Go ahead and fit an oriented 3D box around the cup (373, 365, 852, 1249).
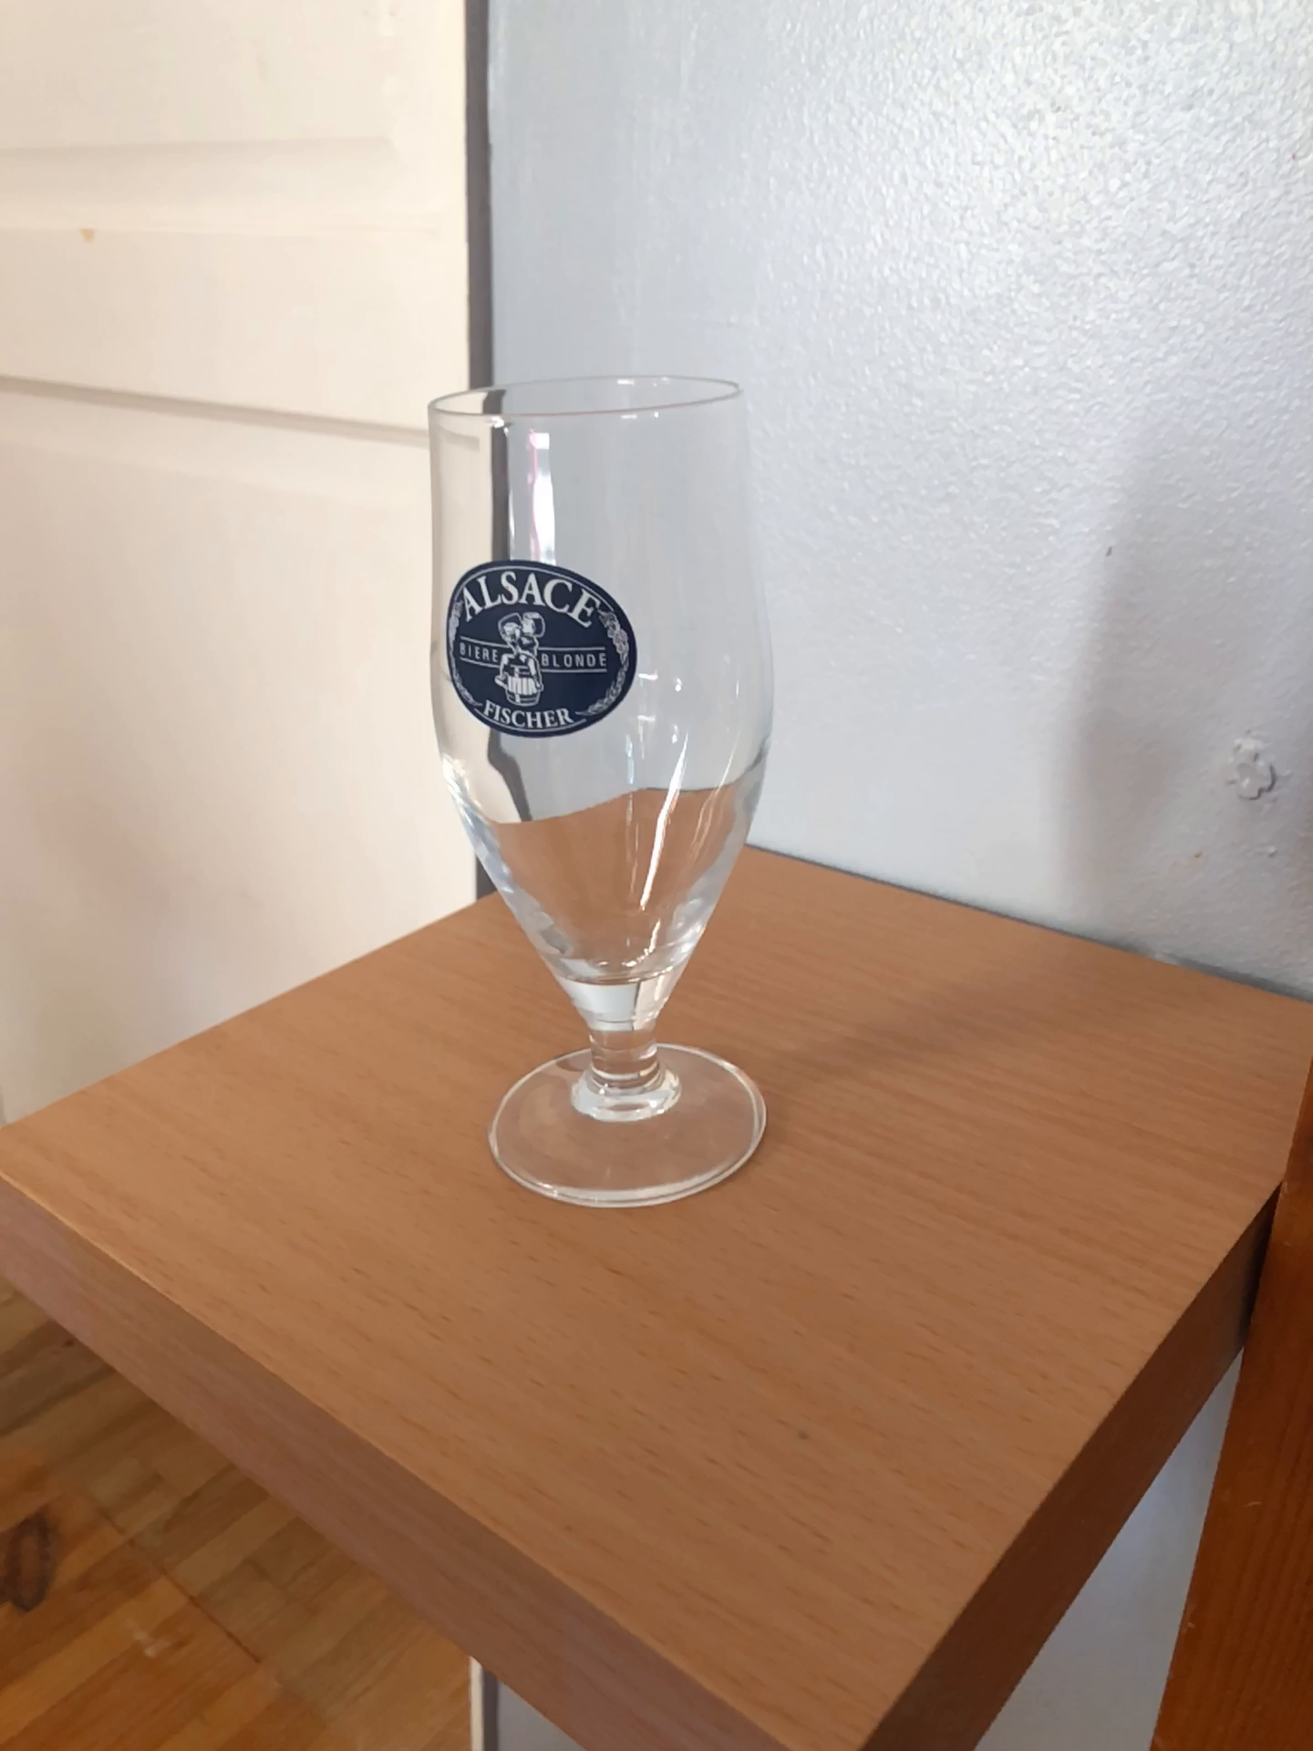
[{"bbox_3d":[-0.002,-0.017,0.309,0.068,0.166,0.068,-3,23,1],"label":"cup"}]
